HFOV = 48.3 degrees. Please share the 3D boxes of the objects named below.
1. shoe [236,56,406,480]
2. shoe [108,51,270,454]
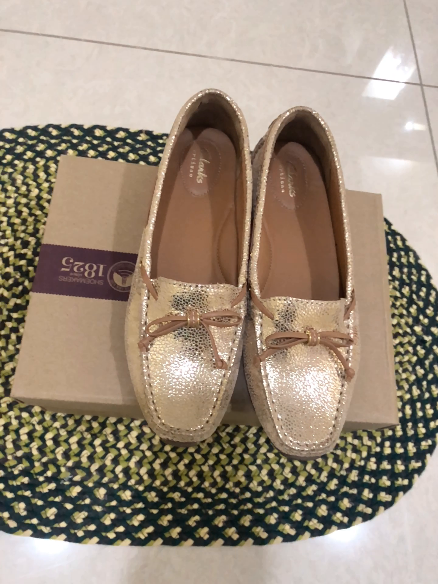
[{"bbox_3d":[0.065,-0.028,0.363,0.090,0.060,0.310,5,68,-8],"label":"shoe"},{"bbox_3d":[-0.016,-0.035,0.348,0.090,0.060,0.280,5,68,-8],"label":"shoe"}]
